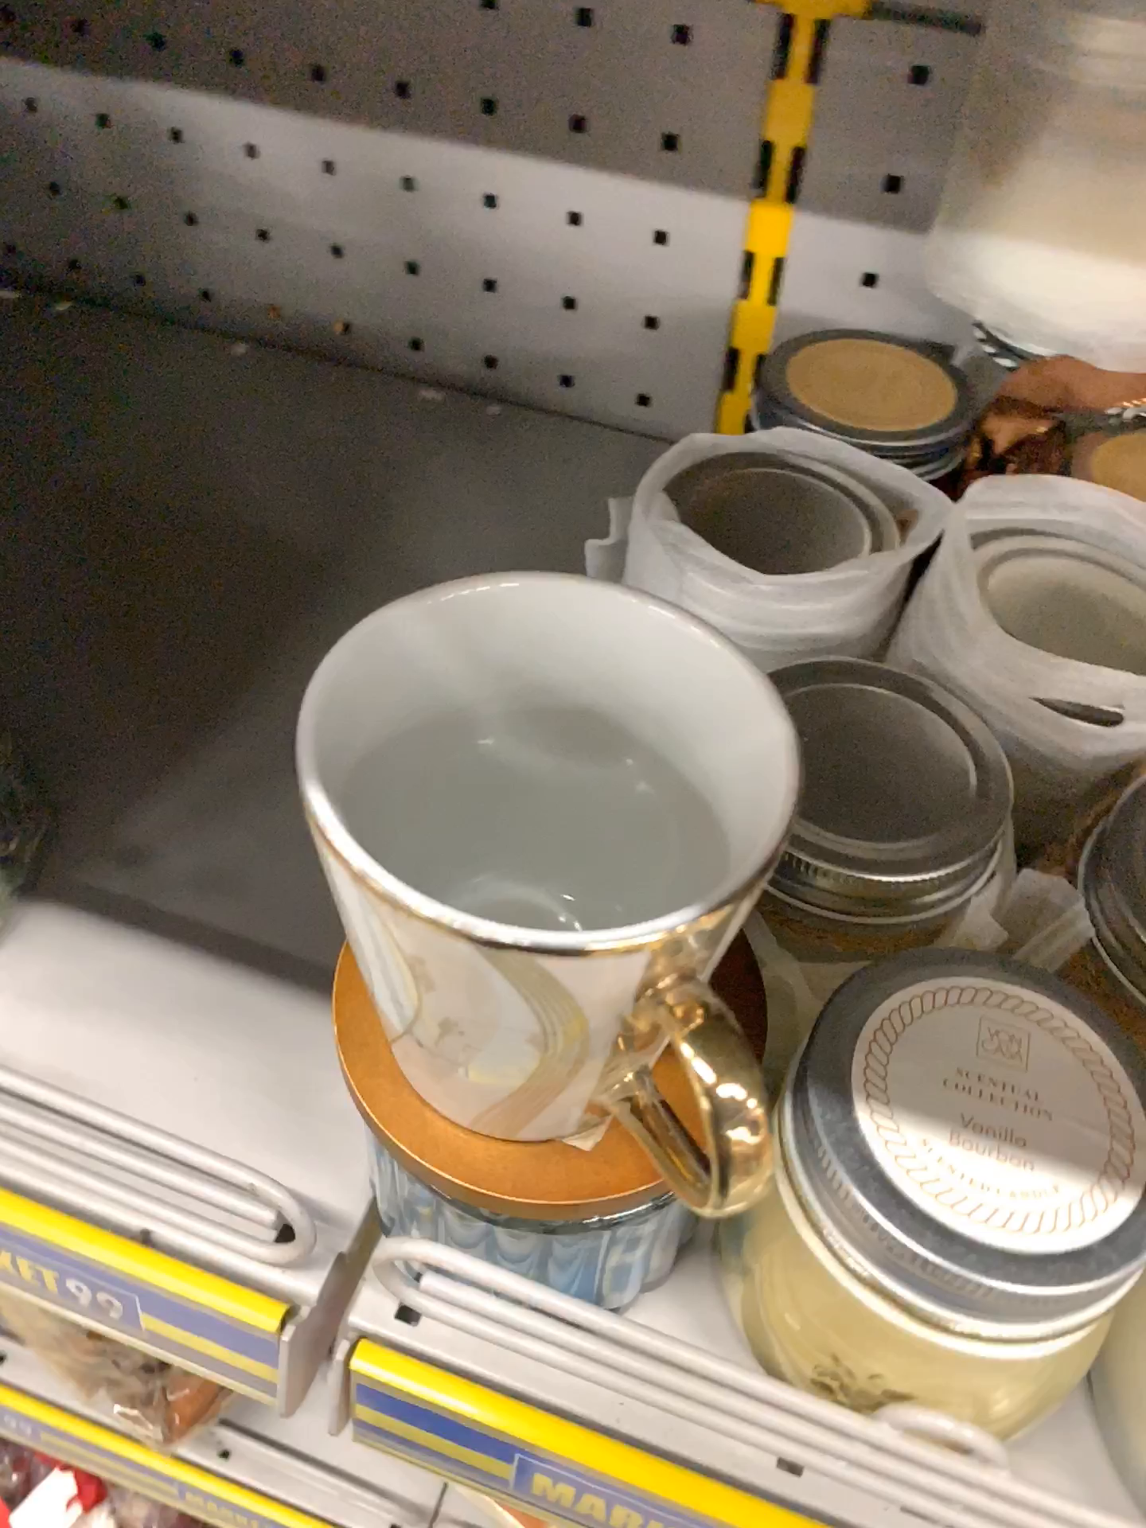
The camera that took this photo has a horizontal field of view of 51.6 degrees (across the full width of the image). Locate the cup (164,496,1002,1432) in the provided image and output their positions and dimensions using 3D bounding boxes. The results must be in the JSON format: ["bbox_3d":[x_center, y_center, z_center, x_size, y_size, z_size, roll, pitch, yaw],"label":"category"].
[{"bbox_3d":[-0.006,0.024,0.167,0.070,0.070,0.090,-16,51,-17],"label":"cup"}]
